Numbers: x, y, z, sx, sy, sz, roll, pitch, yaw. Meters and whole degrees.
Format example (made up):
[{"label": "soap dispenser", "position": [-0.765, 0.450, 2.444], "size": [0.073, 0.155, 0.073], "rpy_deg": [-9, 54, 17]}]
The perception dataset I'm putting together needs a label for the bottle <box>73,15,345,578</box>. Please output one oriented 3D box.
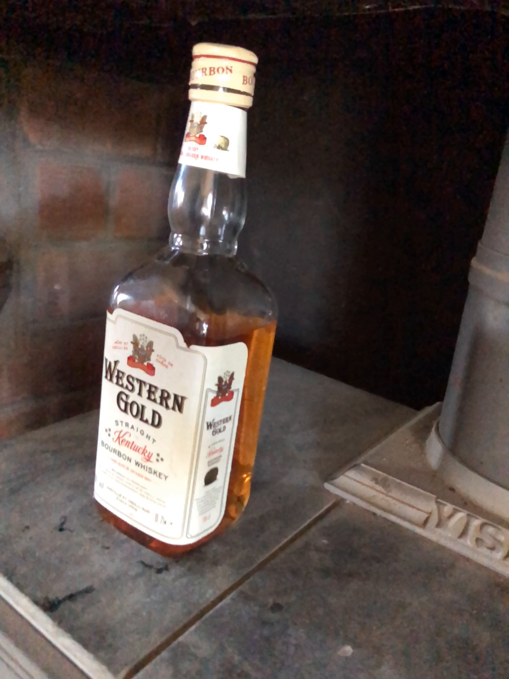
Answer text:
[{"label": "bottle", "position": [-0.030, -0.020, 0.298], "size": [0.090, 0.249, 0.080], "rpy_deg": [17, 19, 31]}]
